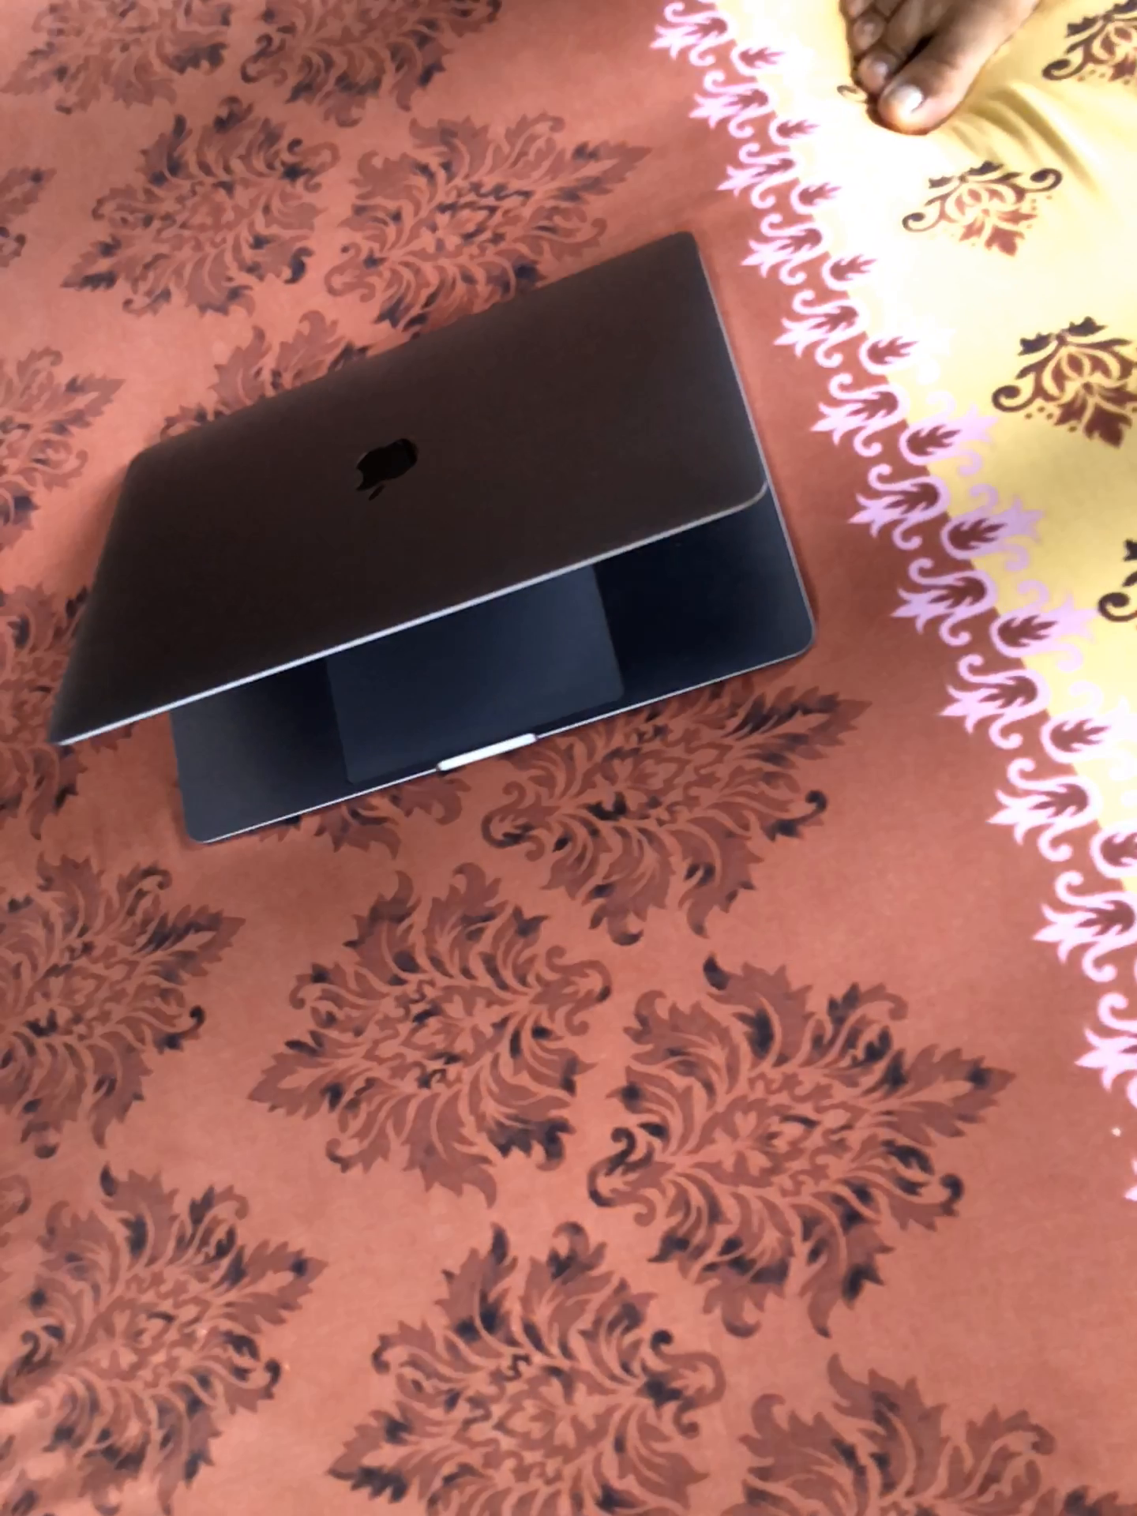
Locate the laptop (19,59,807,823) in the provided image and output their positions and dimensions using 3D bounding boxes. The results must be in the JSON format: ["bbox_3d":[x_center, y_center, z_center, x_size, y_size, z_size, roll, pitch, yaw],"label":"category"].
[{"bbox_3d":[-0.072,-0.117,0.513,0.286,0.093,0.204,-17,71,14],"label":"laptop"}]
